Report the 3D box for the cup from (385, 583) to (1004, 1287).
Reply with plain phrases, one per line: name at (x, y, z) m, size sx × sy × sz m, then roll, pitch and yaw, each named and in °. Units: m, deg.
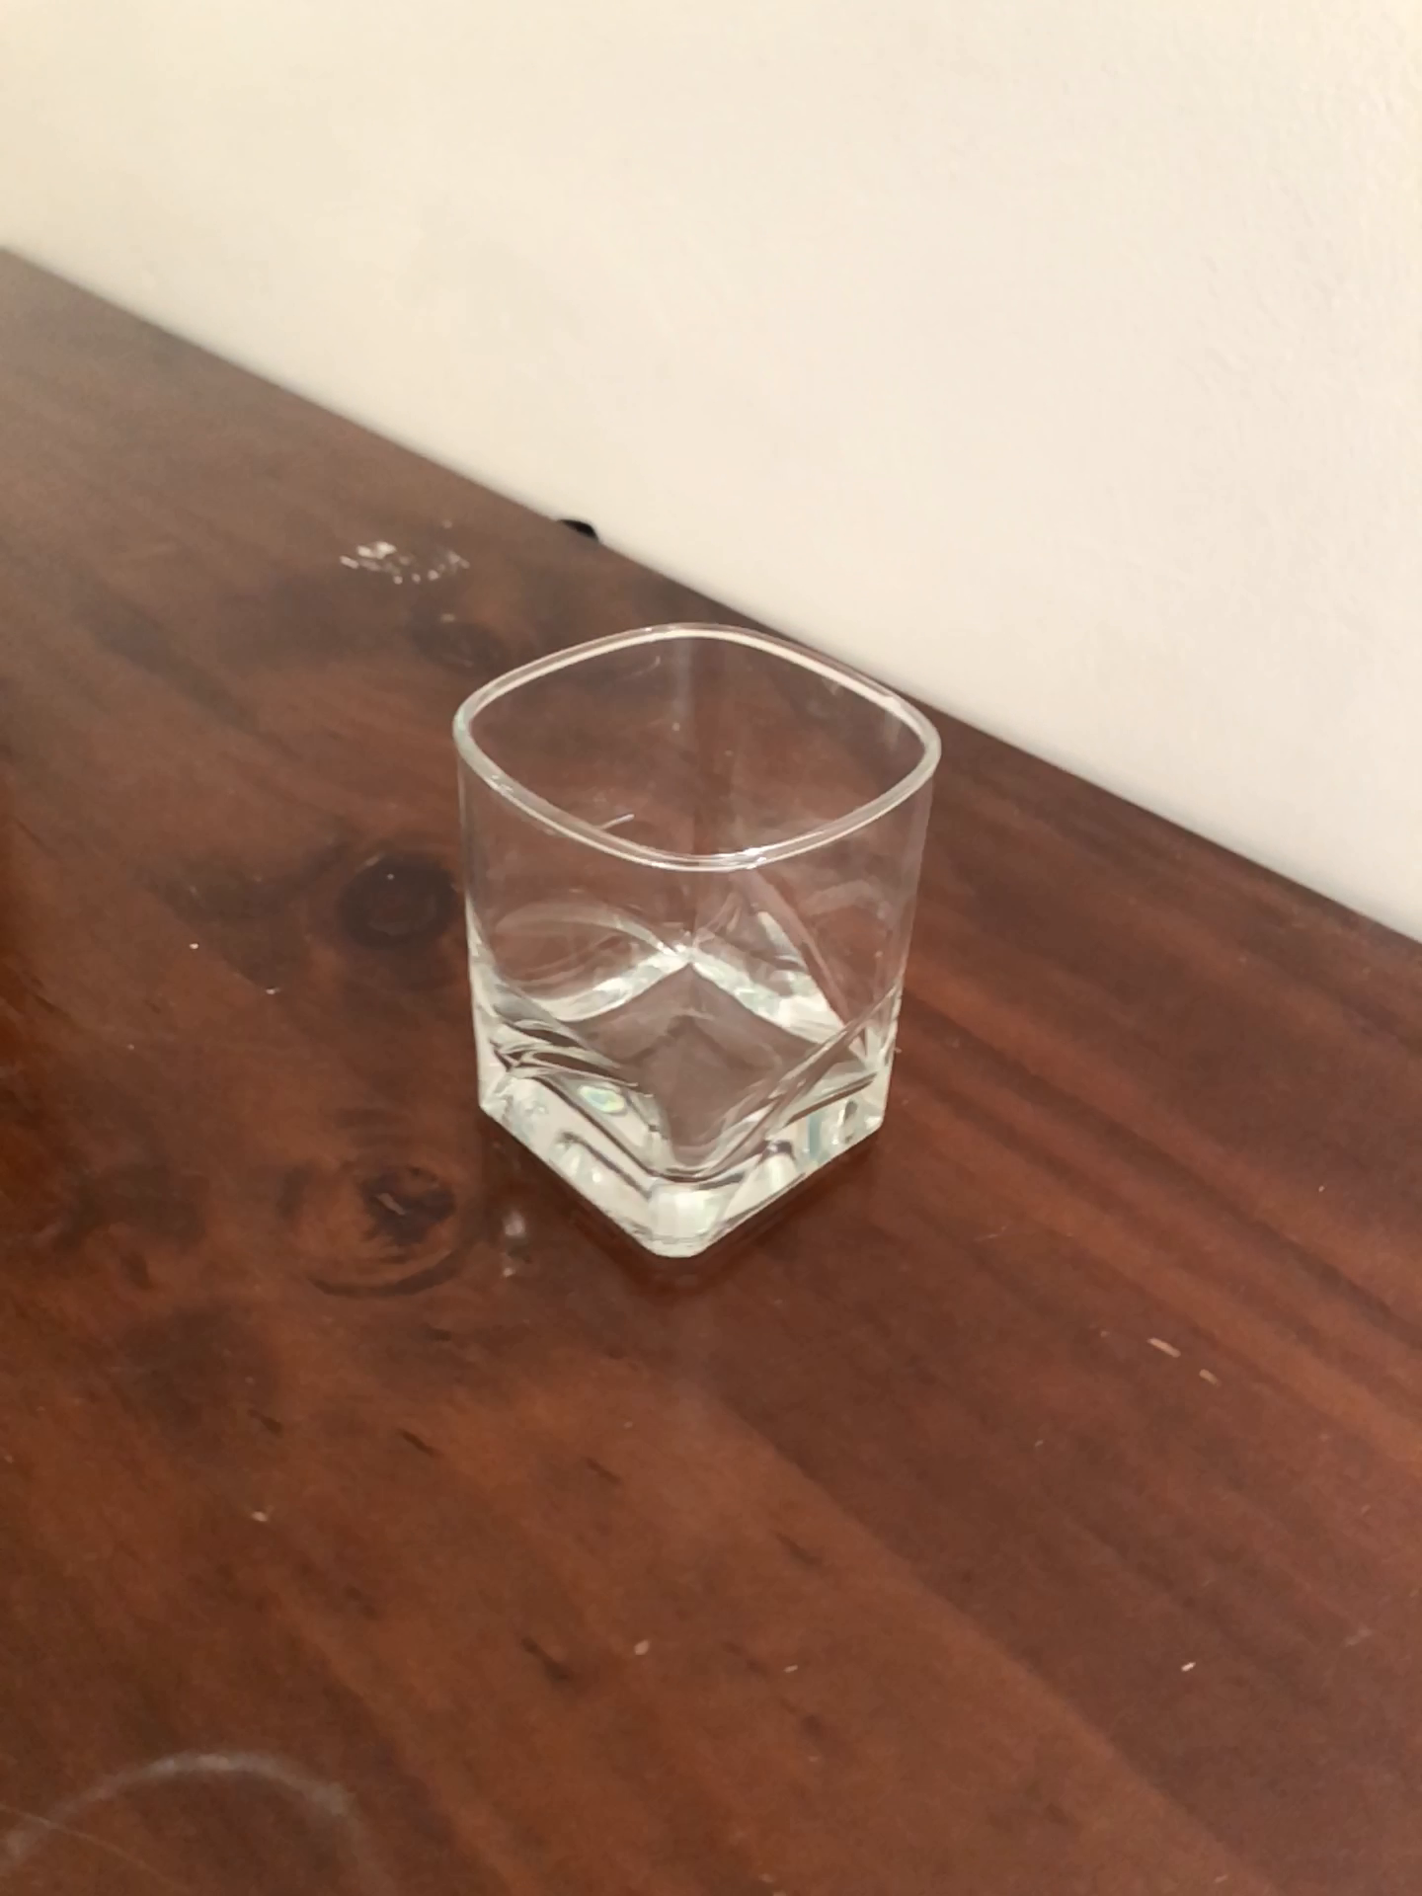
cup at (-0.006, -0.007, 0.300) m, size 0.076 × 0.087 × 0.077 m, roll 3°, pitch 36°, yaw -2°
